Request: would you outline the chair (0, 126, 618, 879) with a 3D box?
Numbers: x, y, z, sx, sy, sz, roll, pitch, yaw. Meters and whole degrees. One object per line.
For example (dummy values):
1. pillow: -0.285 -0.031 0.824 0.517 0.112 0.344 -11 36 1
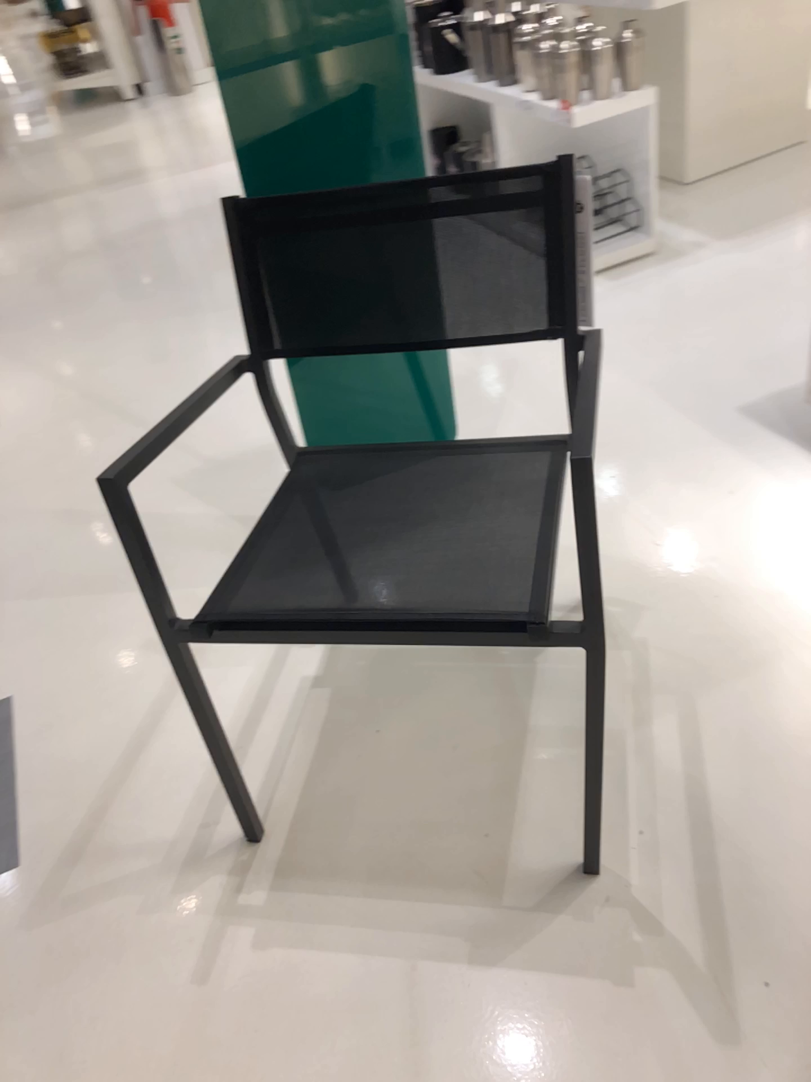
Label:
1. chair: -0.010 -0.044 1.261 0.570 0.793 0.605 -1 38 15
